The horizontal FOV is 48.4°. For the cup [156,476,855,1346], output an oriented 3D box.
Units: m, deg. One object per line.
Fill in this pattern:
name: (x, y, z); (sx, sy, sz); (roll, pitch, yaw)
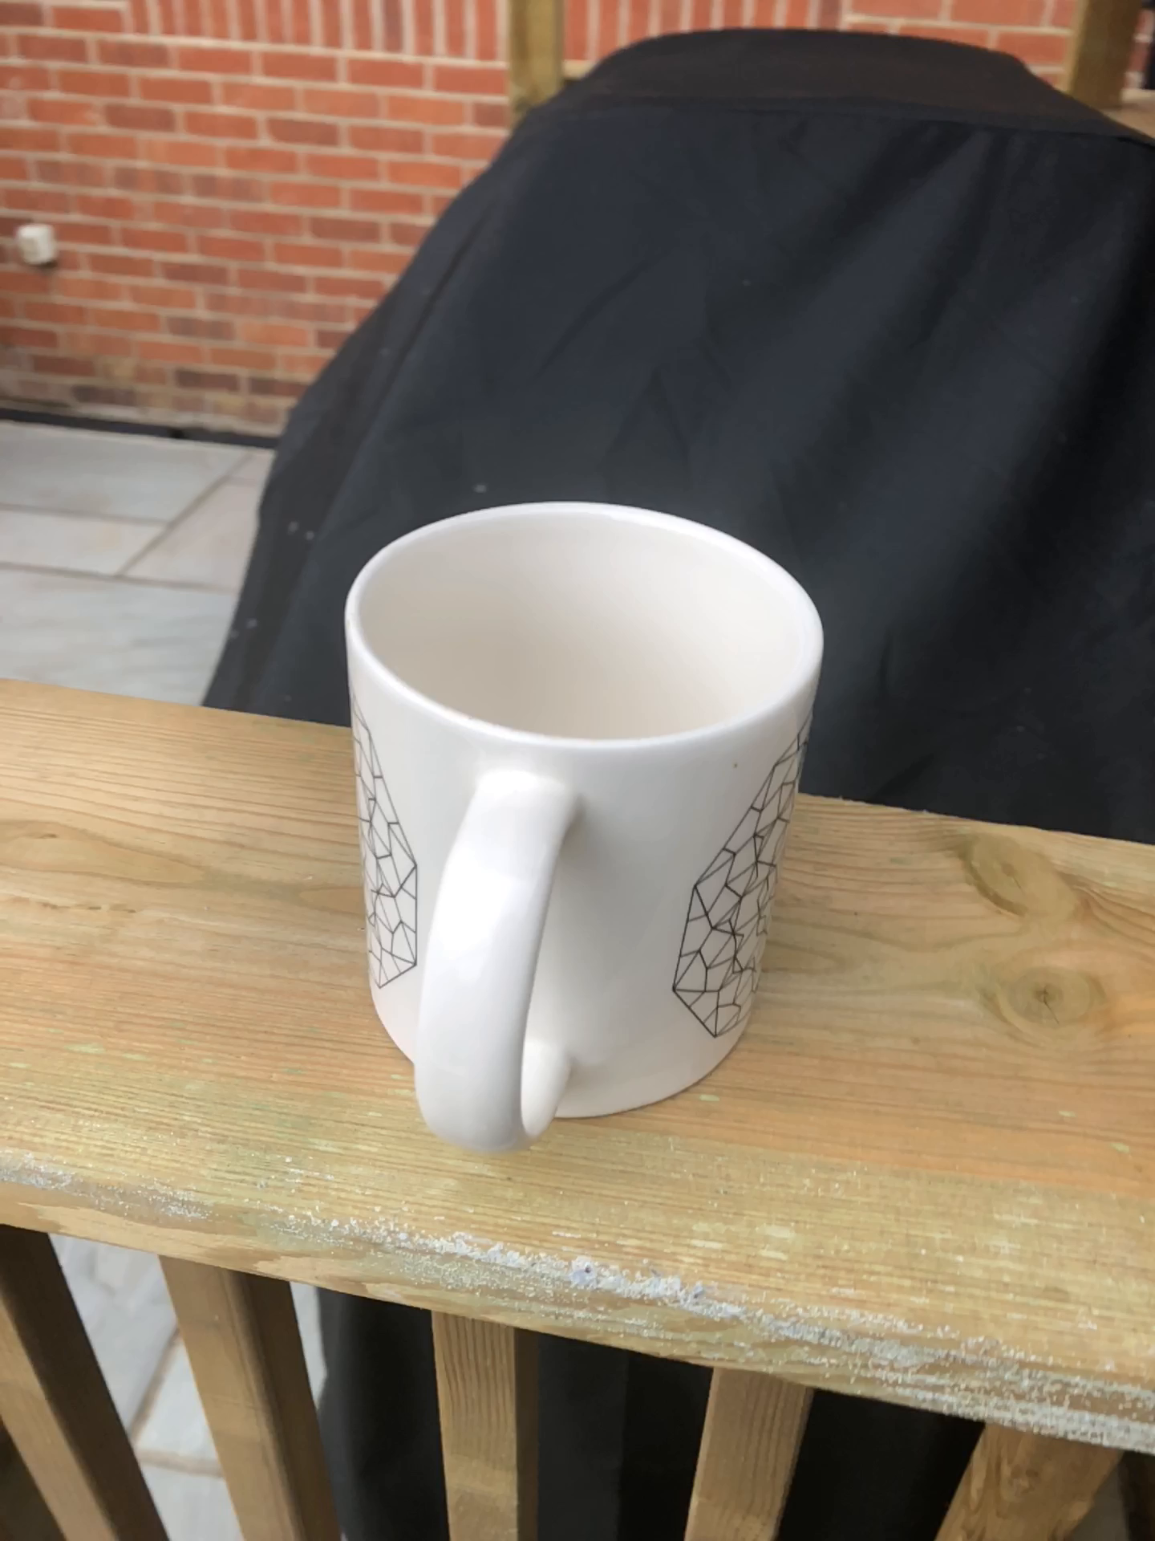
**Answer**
cup: (-0.003, 0.015, 0.241); (0.090, 0.089, 0.131); (6, 34, 5)
